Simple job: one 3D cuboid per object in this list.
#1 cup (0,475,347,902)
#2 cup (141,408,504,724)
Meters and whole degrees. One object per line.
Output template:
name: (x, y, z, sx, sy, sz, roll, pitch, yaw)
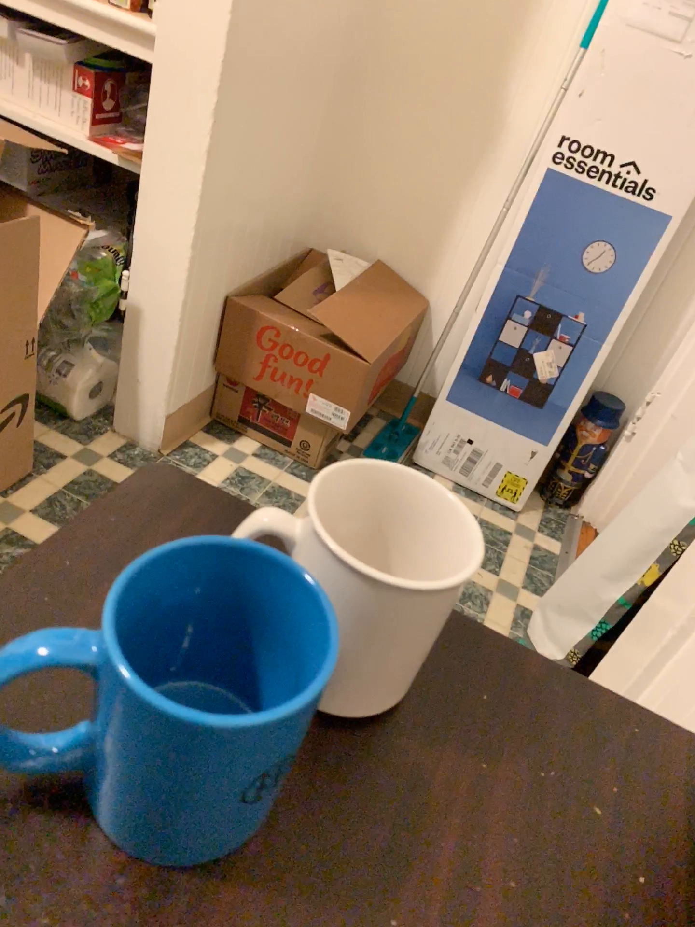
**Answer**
cup: (-0.088, 0.078, 0.250, 0.140, 0.099, 0.090, 7, 37, -18)
cup: (-0.020, 0.050, 0.328, 0.130, 0.099, 0.091, 8, 36, -17)
